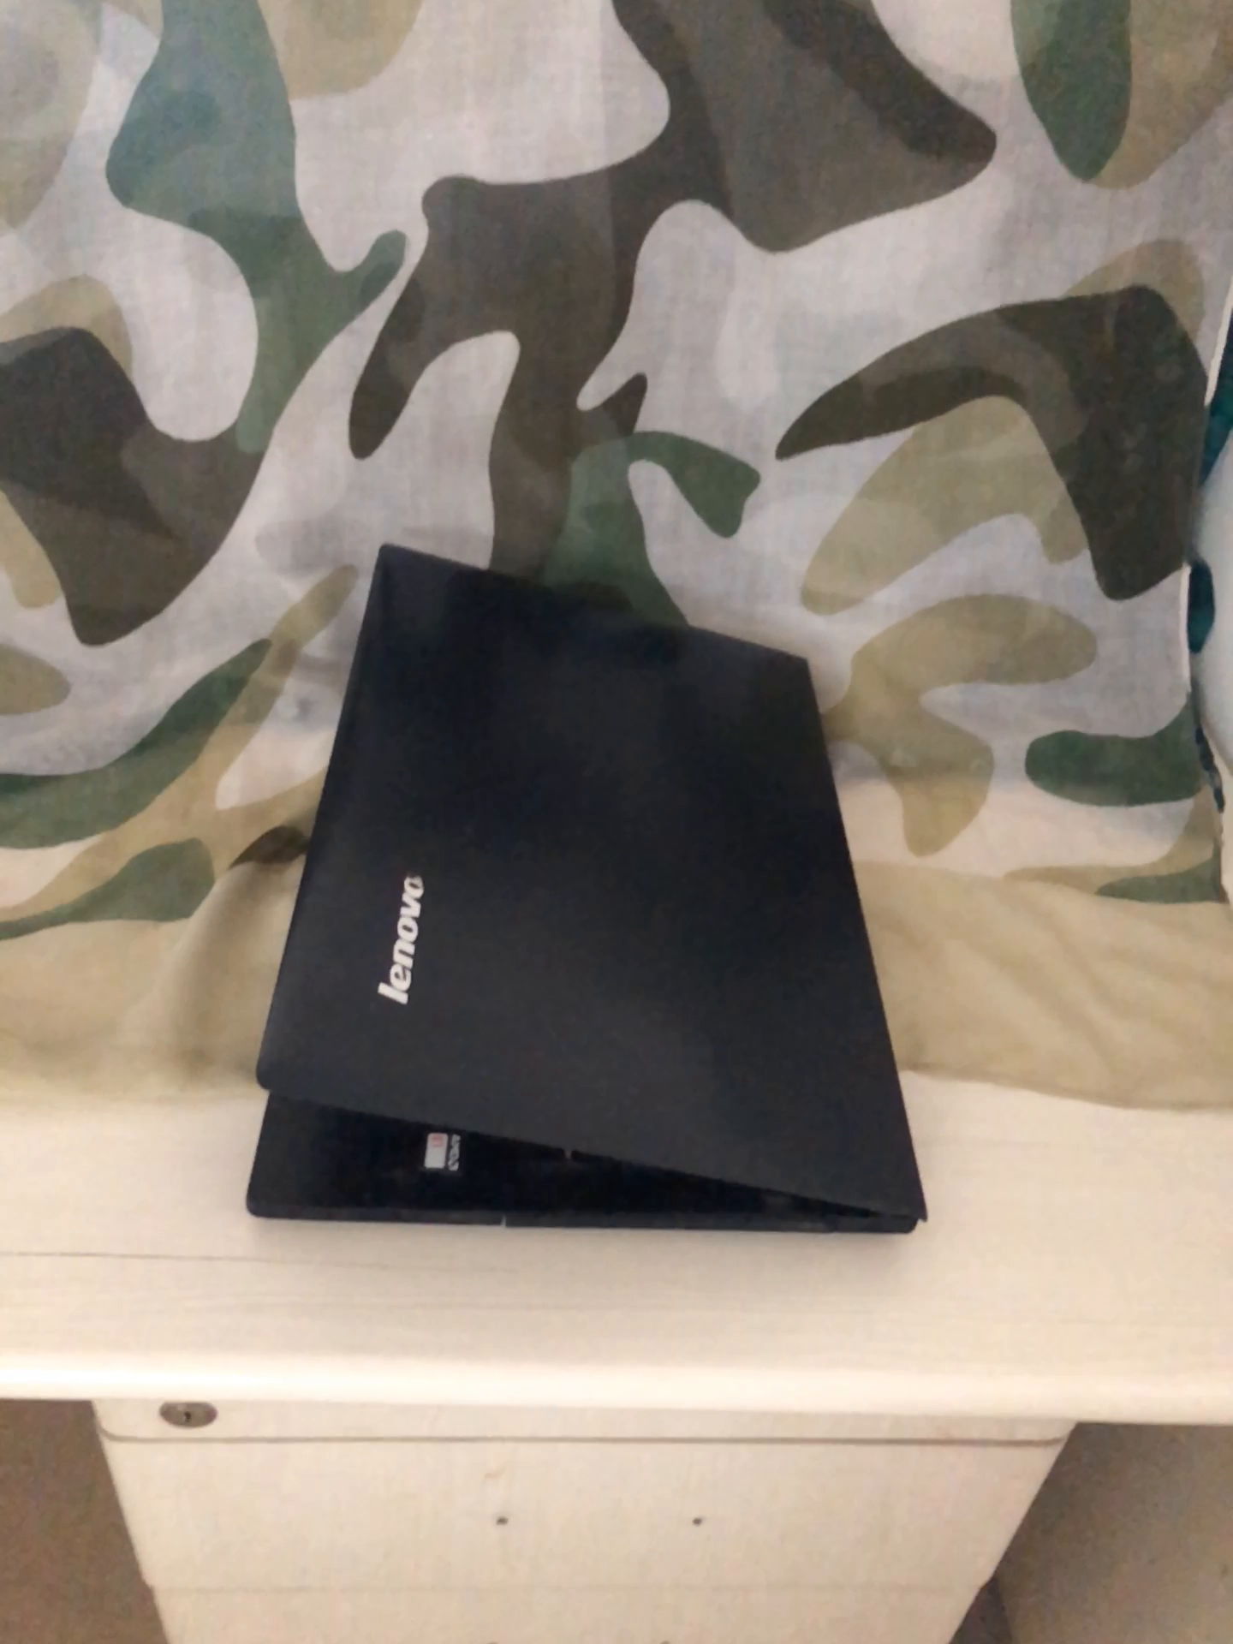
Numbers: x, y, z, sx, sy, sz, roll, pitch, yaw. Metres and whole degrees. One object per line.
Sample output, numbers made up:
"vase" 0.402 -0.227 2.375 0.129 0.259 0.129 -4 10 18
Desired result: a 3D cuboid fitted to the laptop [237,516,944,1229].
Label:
"laptop" -0.007 -0.007 0.641 0.249 0.059 0.388 6 40 -5
